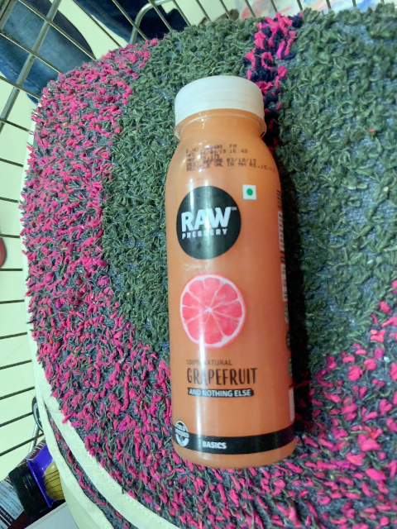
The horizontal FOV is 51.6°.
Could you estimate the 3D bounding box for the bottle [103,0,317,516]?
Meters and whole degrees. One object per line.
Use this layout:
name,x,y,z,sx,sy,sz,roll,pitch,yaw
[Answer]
bottle,0.009,-0.005,0.164,0.060,0.060,0.160,-3,81,26
